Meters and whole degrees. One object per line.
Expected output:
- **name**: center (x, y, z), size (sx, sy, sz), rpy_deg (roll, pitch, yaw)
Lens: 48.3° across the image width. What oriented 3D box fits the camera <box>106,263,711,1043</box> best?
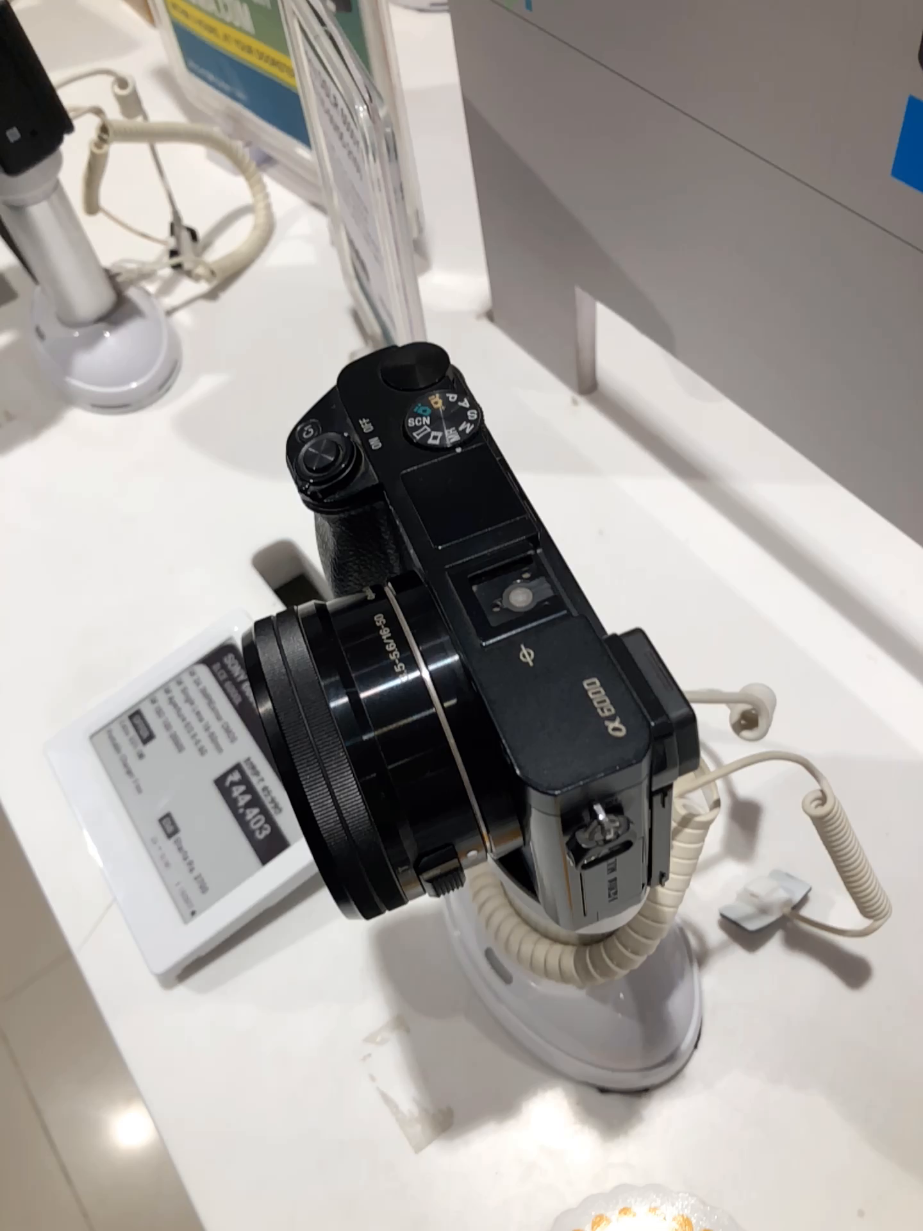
- **camera**: center (-0.012, 0.005, 0.190), size (0.060, 0.070, 0.111), rpy_deg (-22, 56, -7)
